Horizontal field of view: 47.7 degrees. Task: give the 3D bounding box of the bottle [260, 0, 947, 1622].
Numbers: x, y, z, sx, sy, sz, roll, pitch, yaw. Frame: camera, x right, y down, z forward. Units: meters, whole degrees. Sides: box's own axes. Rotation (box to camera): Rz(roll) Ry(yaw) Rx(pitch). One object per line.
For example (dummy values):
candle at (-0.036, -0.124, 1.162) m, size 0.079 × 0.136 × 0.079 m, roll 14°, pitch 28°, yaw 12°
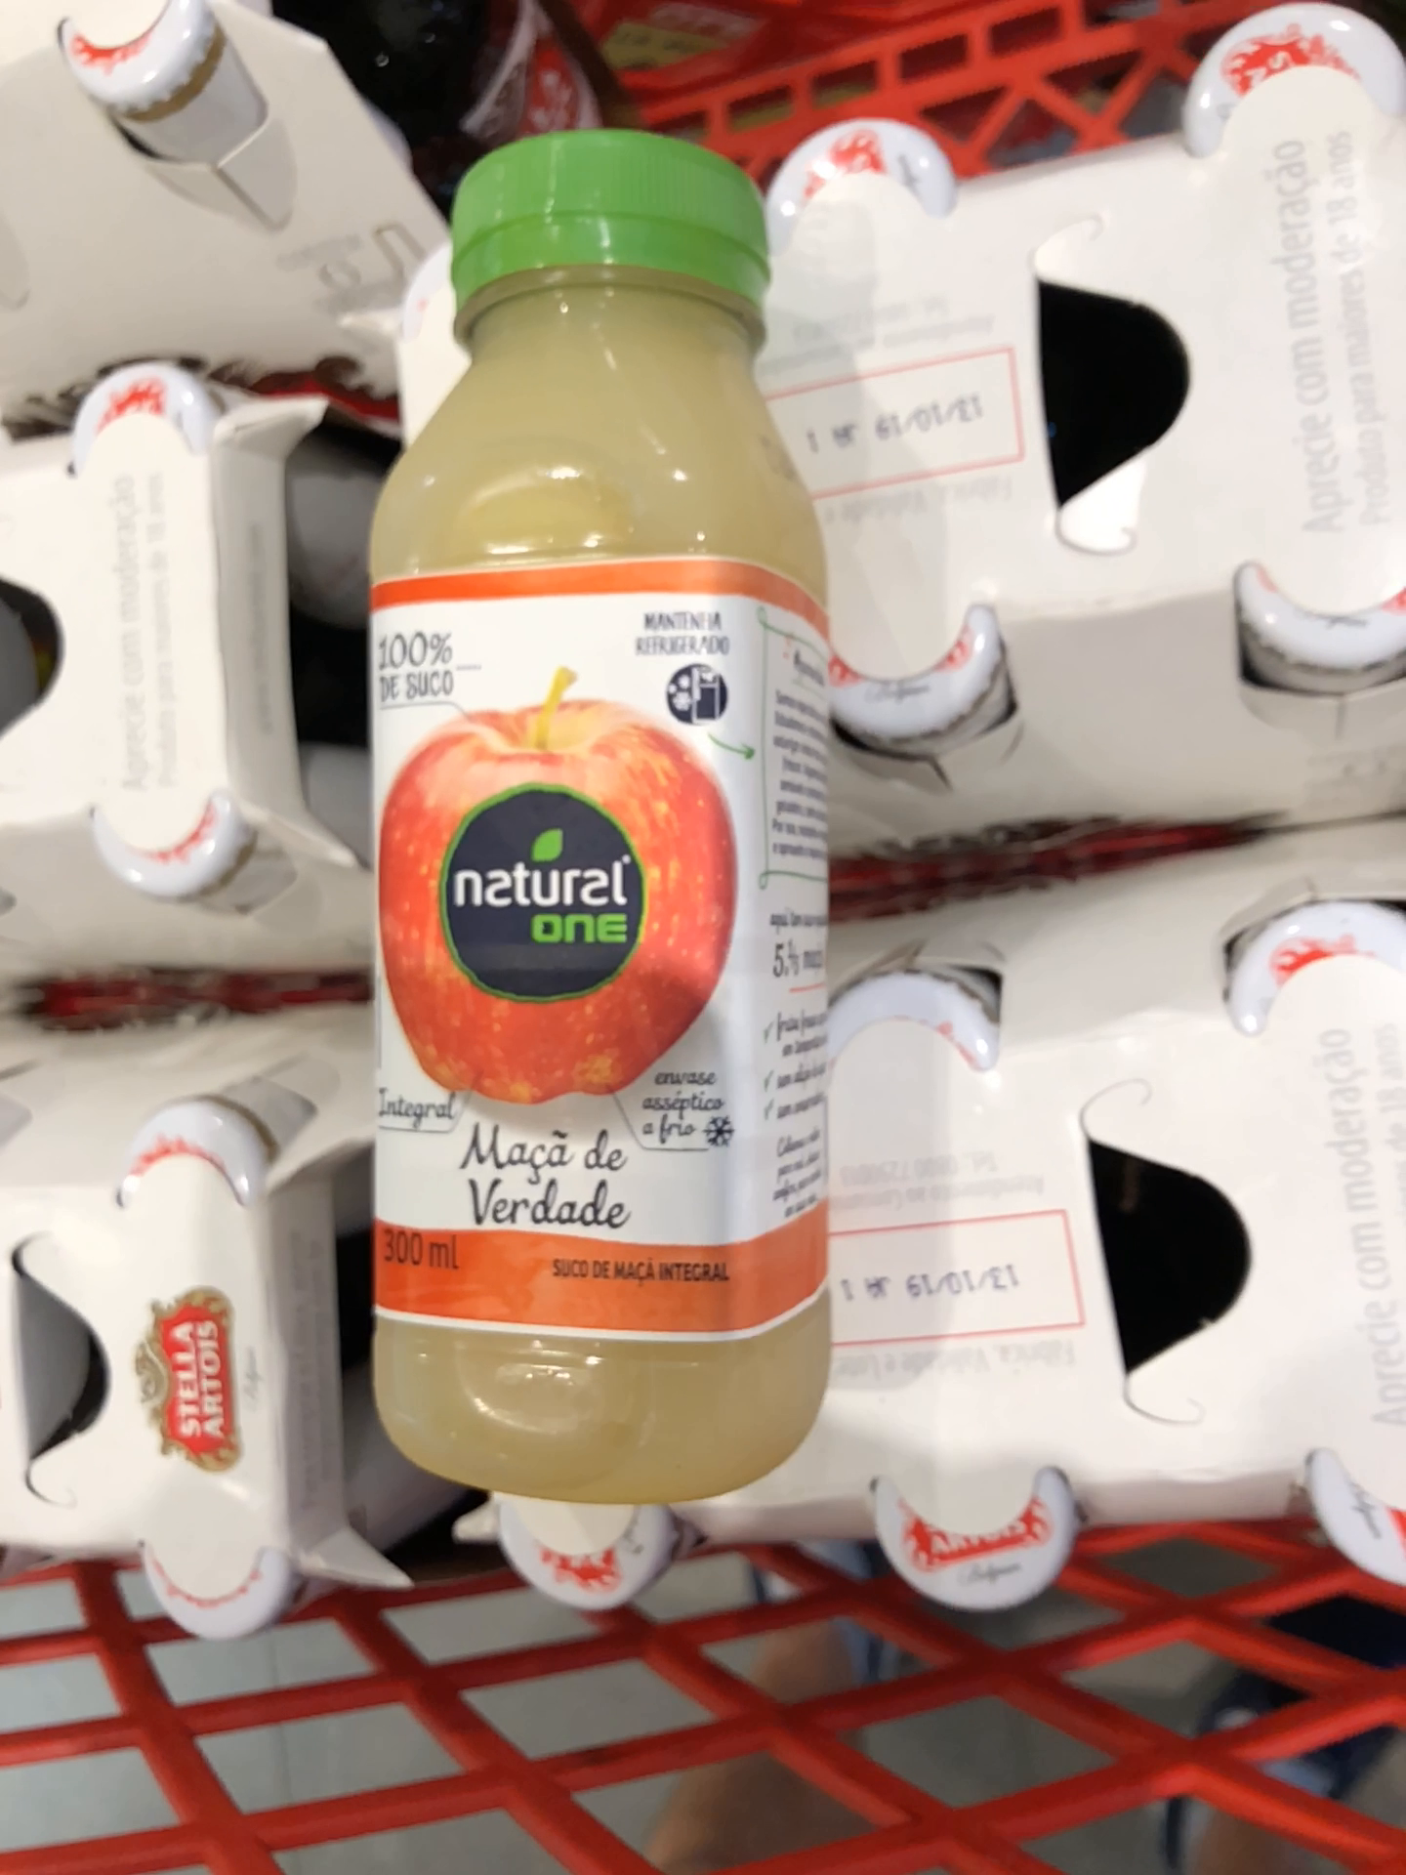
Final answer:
bottle at (-0.007, -0.025, 0.191) m, size 0.060 × 0.060 × 0.180 m, roll 1°, pitch 89°, yaw 18°
